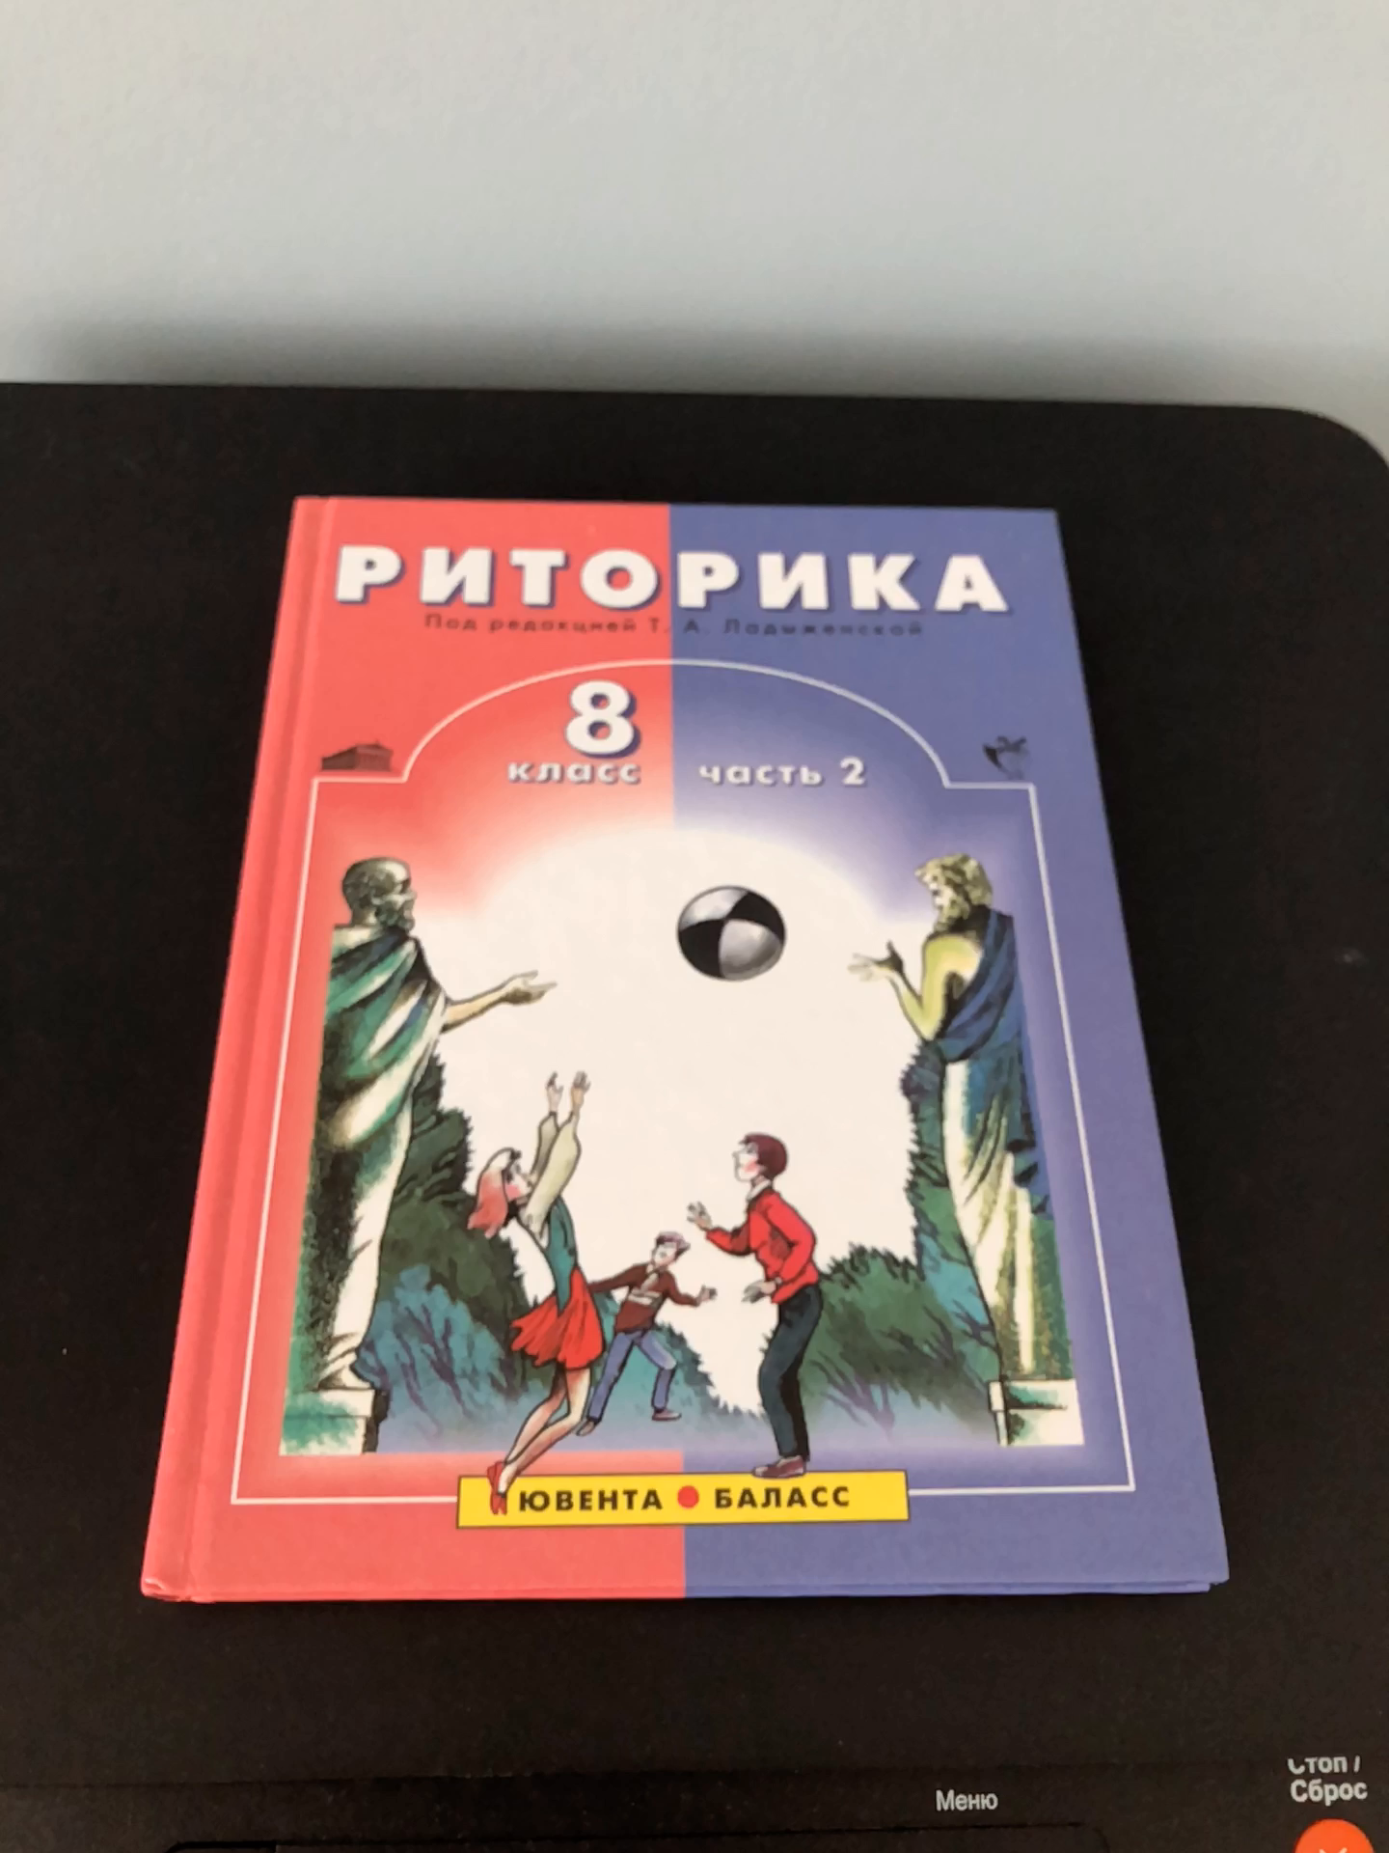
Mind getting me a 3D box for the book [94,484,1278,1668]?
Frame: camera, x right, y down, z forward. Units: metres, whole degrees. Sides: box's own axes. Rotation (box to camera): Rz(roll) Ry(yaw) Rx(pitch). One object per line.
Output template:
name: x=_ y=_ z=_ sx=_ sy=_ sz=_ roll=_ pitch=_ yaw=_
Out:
book: x=-0.001 y=0.011 z=0.283 sx=0.170 sy=0.020 sz=0.221 roll=1 pitch=62 yaw=-3
